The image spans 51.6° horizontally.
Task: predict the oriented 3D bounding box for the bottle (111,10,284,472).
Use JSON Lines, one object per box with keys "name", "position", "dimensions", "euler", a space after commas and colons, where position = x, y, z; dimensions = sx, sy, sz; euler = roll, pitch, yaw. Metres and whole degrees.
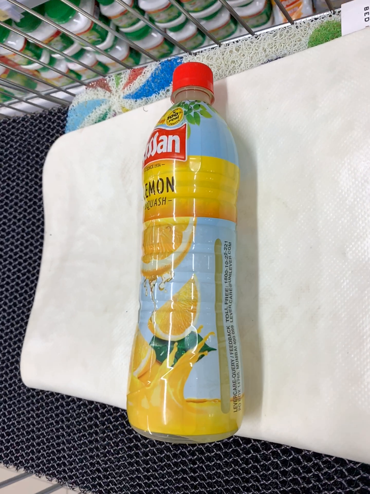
{"name": "bottle", "position": [0.009, -0.005, 0.239], "dimensions": [0.080, 0.070, 0.230], "euler": [-4, 83, 27]}
